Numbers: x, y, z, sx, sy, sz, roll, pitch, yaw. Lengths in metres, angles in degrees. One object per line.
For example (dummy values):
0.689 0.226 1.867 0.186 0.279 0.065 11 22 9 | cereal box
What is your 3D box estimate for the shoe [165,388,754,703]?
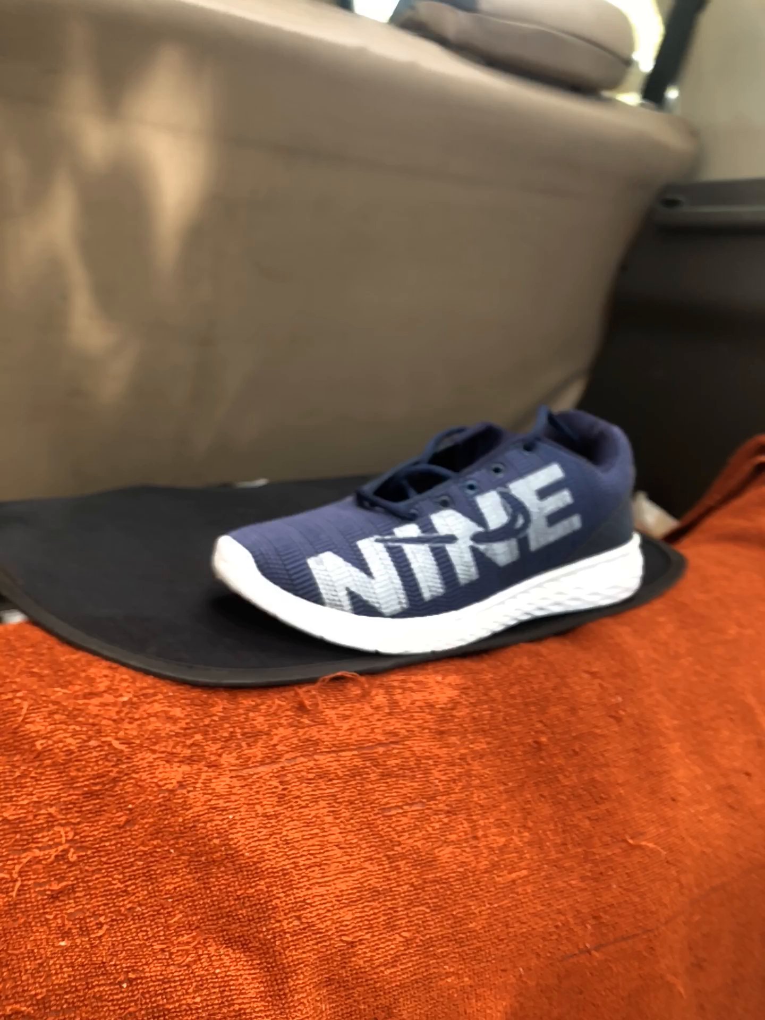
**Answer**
0.044 -0.001 0.471 0.291 0.100 0.130 -7 20 -29 | shoe
